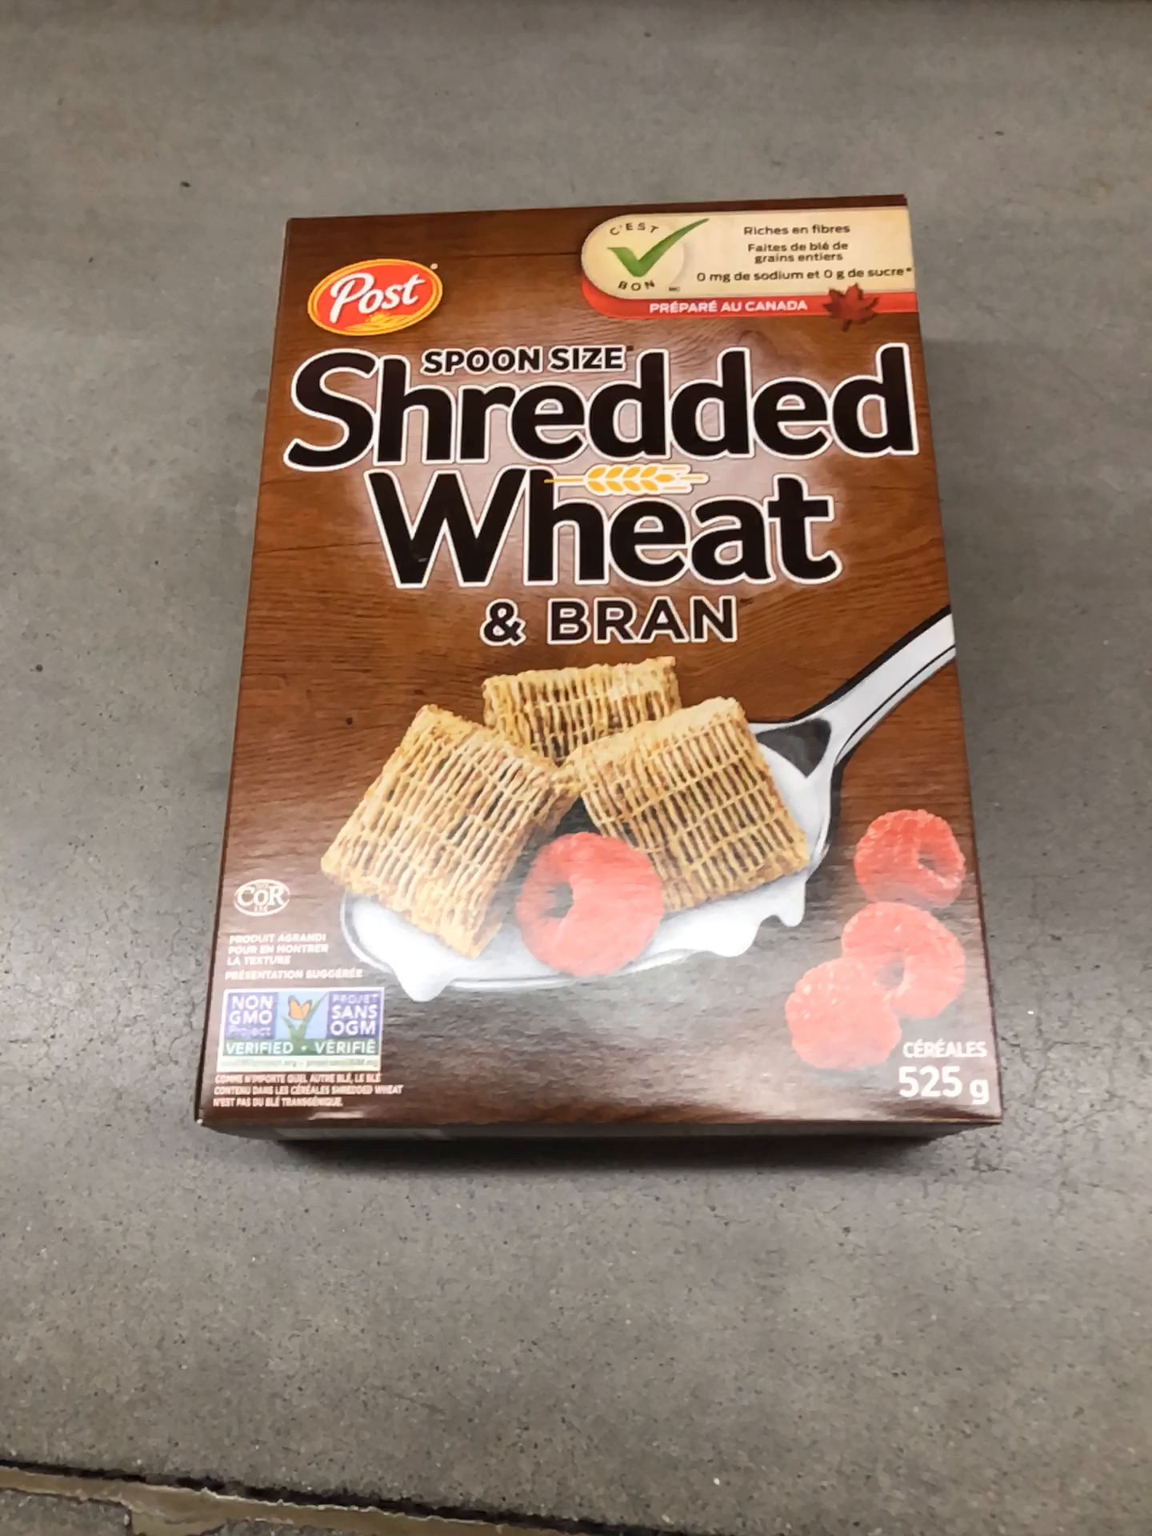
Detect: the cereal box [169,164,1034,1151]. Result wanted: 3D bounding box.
[{"bbox_3d":[0.006,-0.036,0.373,0.200,0.070,0.281,-1,70,4],"label":"cereal box"}]
